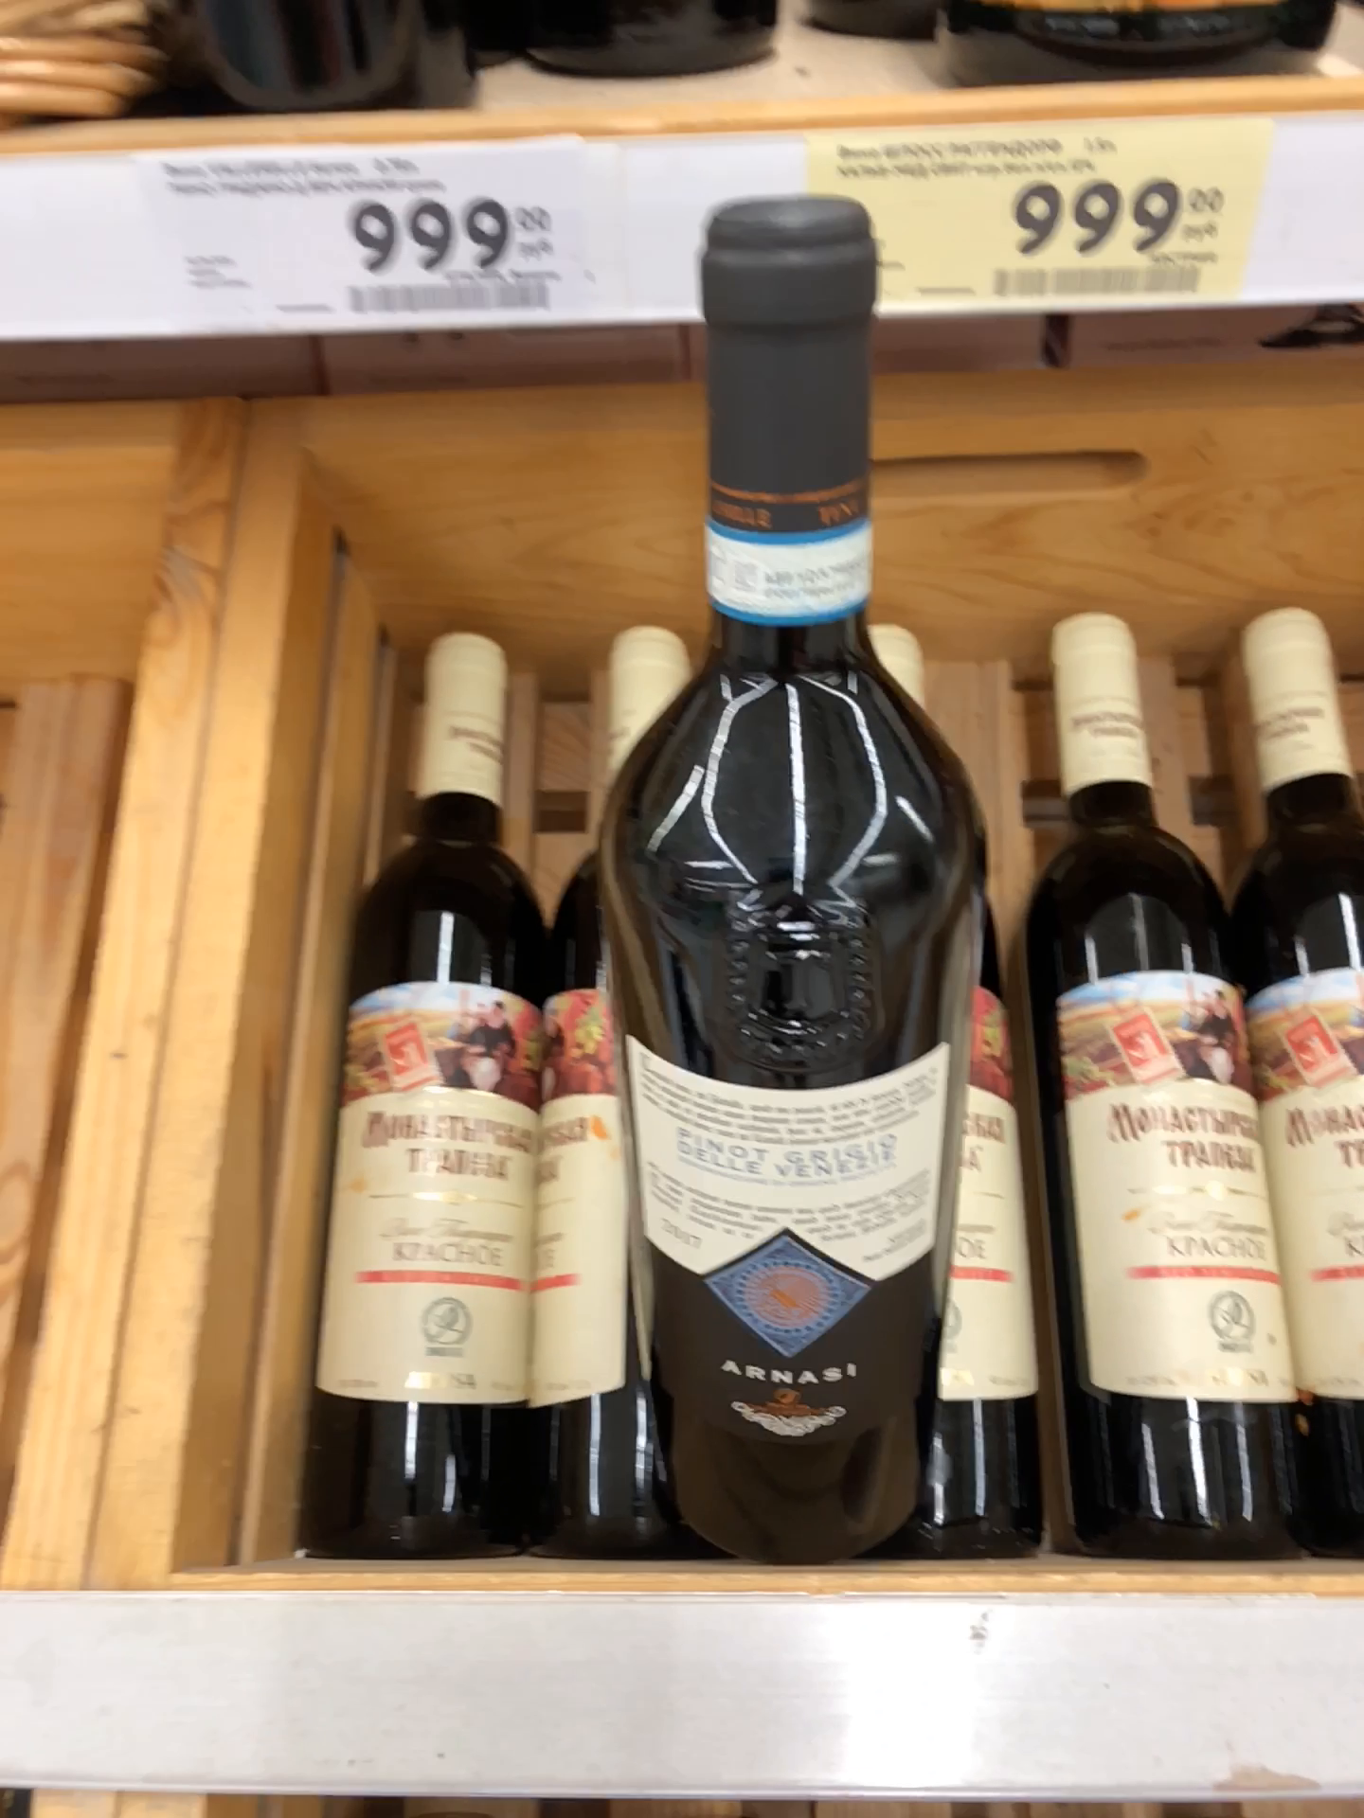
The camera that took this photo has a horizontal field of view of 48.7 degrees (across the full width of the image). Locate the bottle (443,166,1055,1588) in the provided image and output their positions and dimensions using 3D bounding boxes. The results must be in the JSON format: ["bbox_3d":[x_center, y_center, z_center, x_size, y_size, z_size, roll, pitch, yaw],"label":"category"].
[{"bbox_3d":[0.018,0.016,0.338,0.090,0.318,0.080,0,31,4],"label":"bottle"}]
